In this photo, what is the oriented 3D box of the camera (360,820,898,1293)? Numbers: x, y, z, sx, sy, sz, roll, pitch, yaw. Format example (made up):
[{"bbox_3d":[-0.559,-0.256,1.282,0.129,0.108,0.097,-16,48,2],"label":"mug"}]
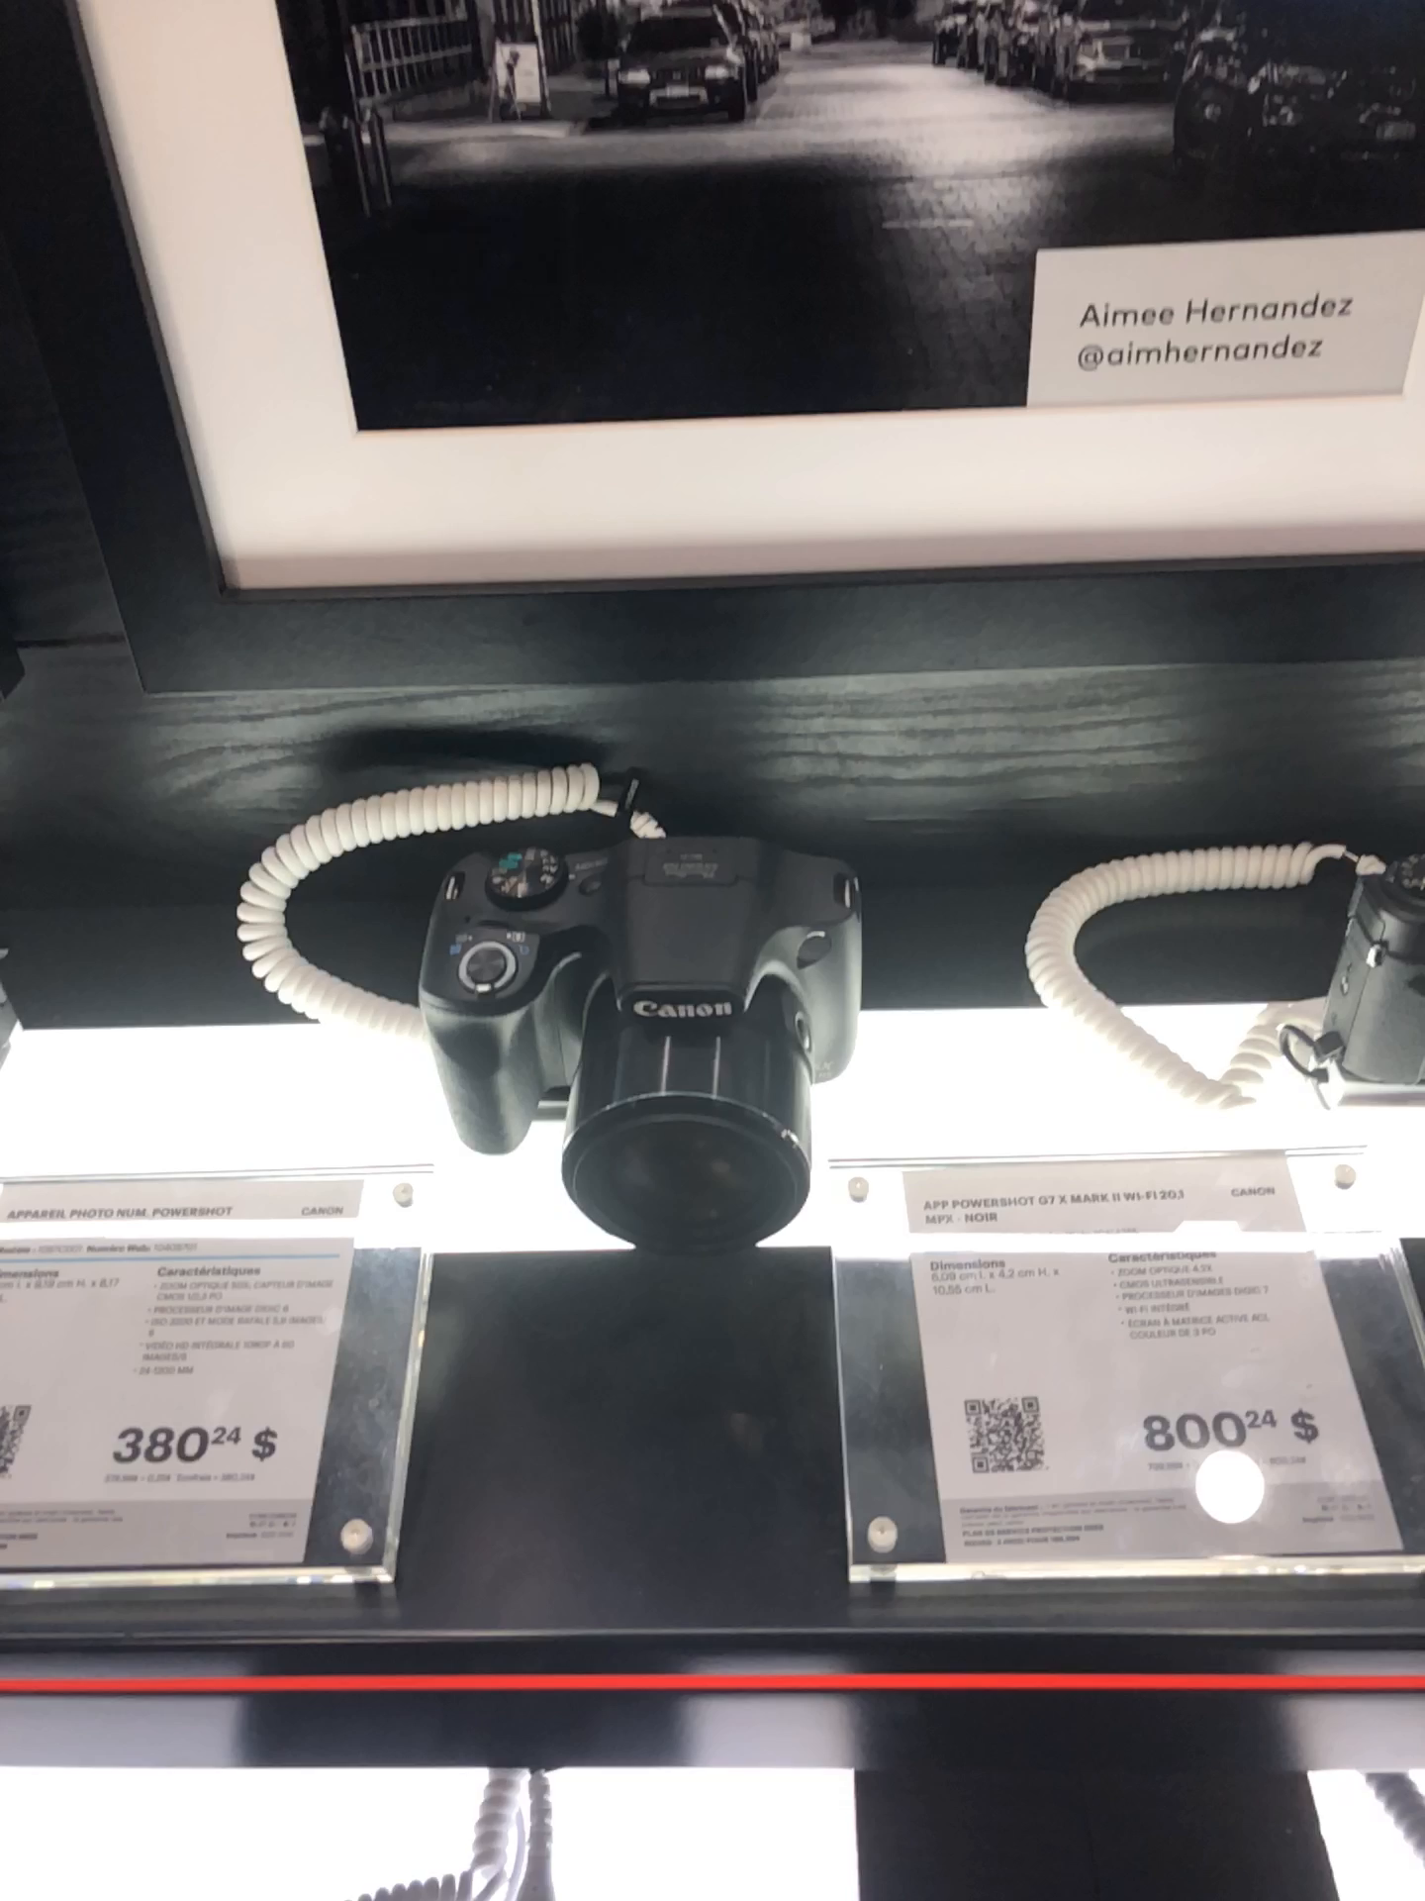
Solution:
[{"bbox_3d":[-0.017,0.029,0.414,0.122,0.099,0.071,-2,38,2],"label":"camera"}]
